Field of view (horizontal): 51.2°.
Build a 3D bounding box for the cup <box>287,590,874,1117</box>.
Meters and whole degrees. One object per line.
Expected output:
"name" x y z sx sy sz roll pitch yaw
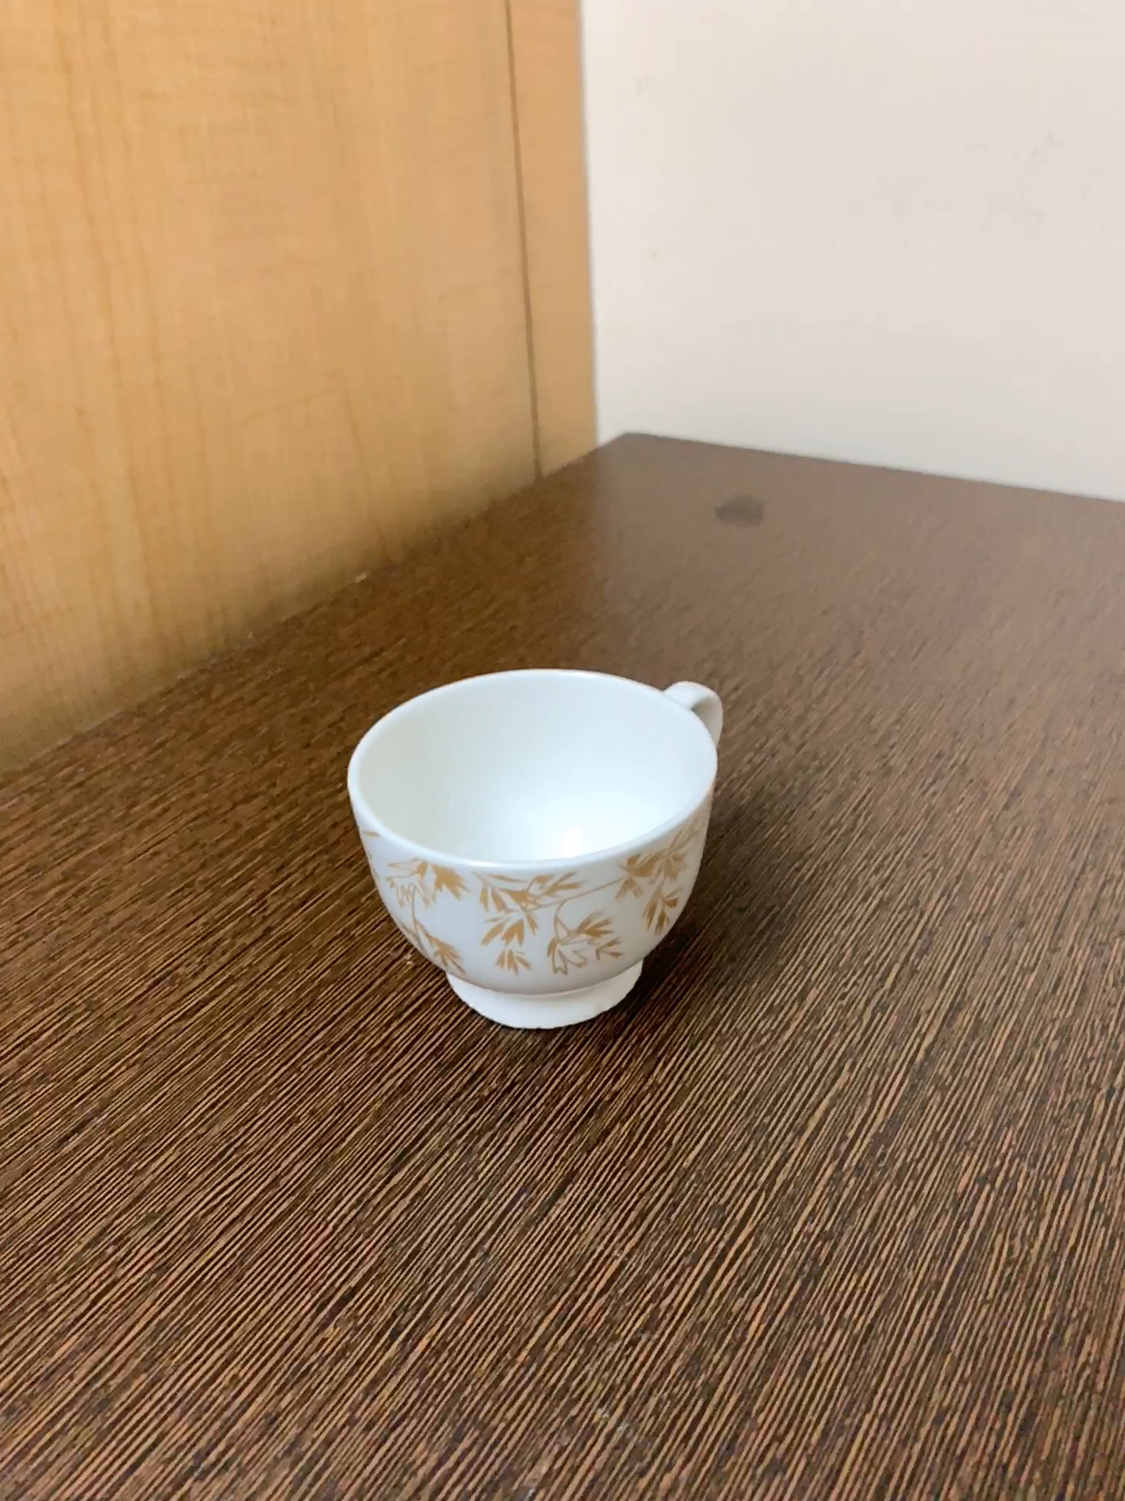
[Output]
"cup" 0.008 0.013 0.261 0.080 0.050 0.101 20 38 33
